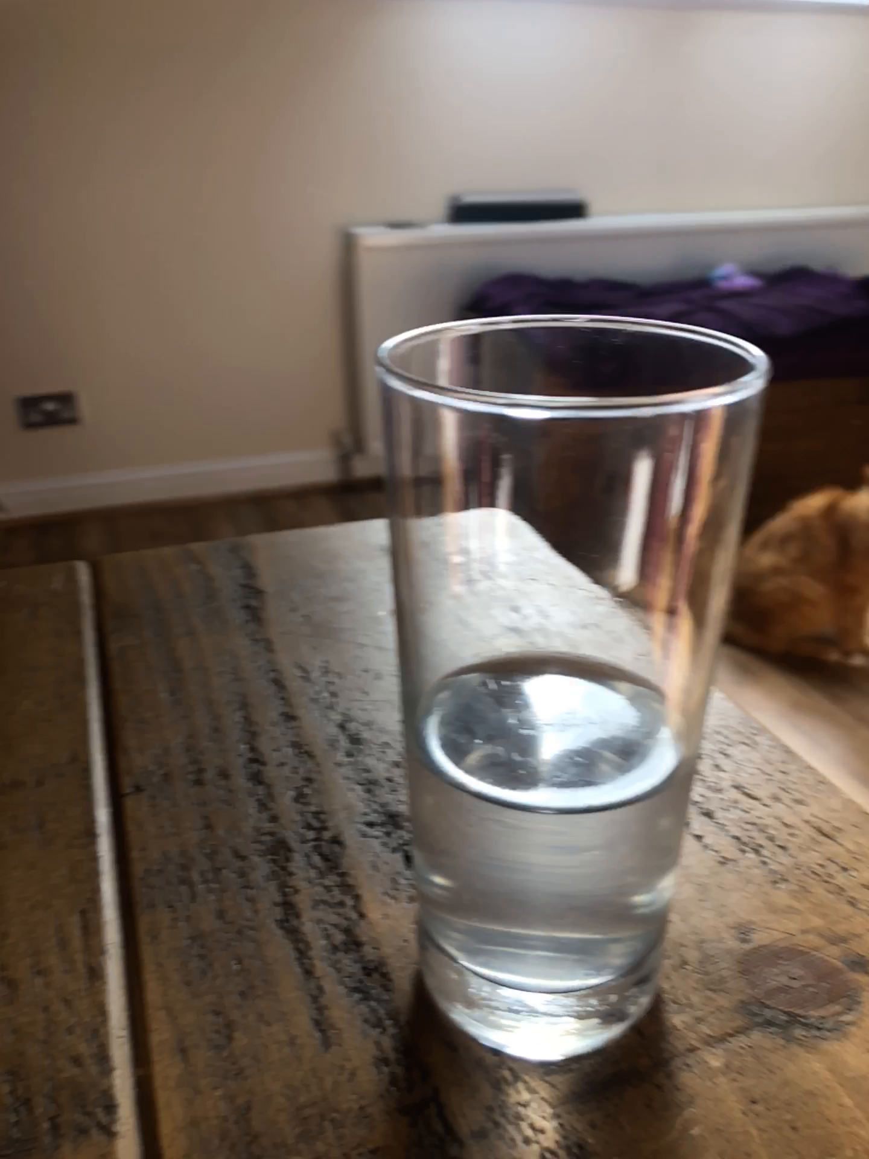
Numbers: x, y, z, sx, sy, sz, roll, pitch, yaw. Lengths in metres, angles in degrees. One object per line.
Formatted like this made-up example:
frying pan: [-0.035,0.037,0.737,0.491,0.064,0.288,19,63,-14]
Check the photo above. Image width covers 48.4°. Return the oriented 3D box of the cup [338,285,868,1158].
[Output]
cup: [0.035,0.024,0.206,0.077,0.152,0.074,-1,24,0]
